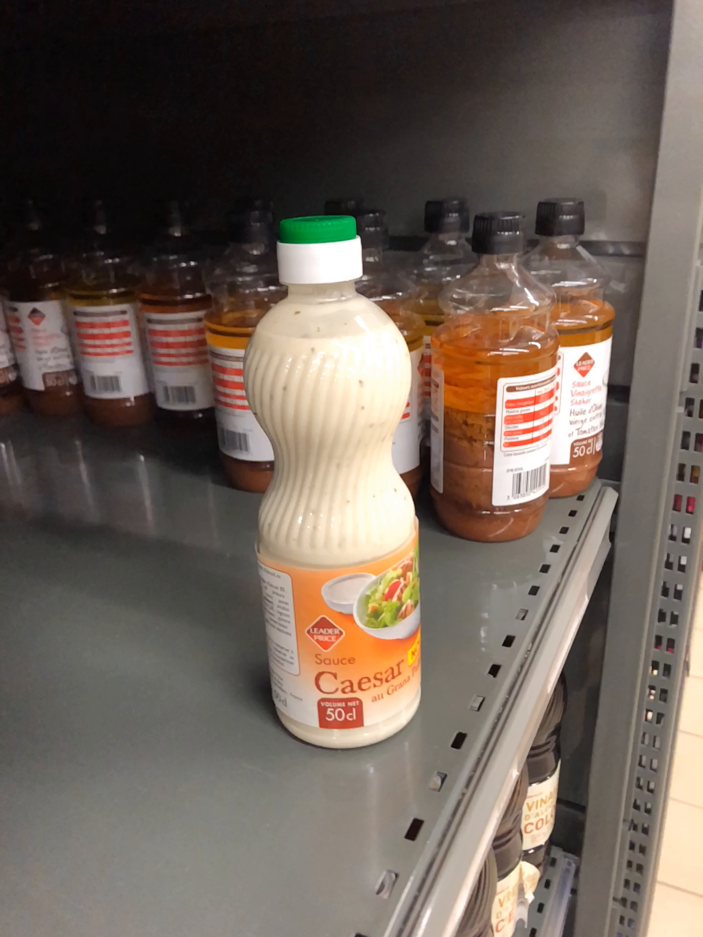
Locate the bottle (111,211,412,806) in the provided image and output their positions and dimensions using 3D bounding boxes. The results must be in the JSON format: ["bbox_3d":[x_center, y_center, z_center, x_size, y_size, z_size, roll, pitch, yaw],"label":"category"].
[{"bbox_3d":[-0.026,0.015,0.330,0.080,0.229,0.080,-2,22,1],"label":"bottle"}]
